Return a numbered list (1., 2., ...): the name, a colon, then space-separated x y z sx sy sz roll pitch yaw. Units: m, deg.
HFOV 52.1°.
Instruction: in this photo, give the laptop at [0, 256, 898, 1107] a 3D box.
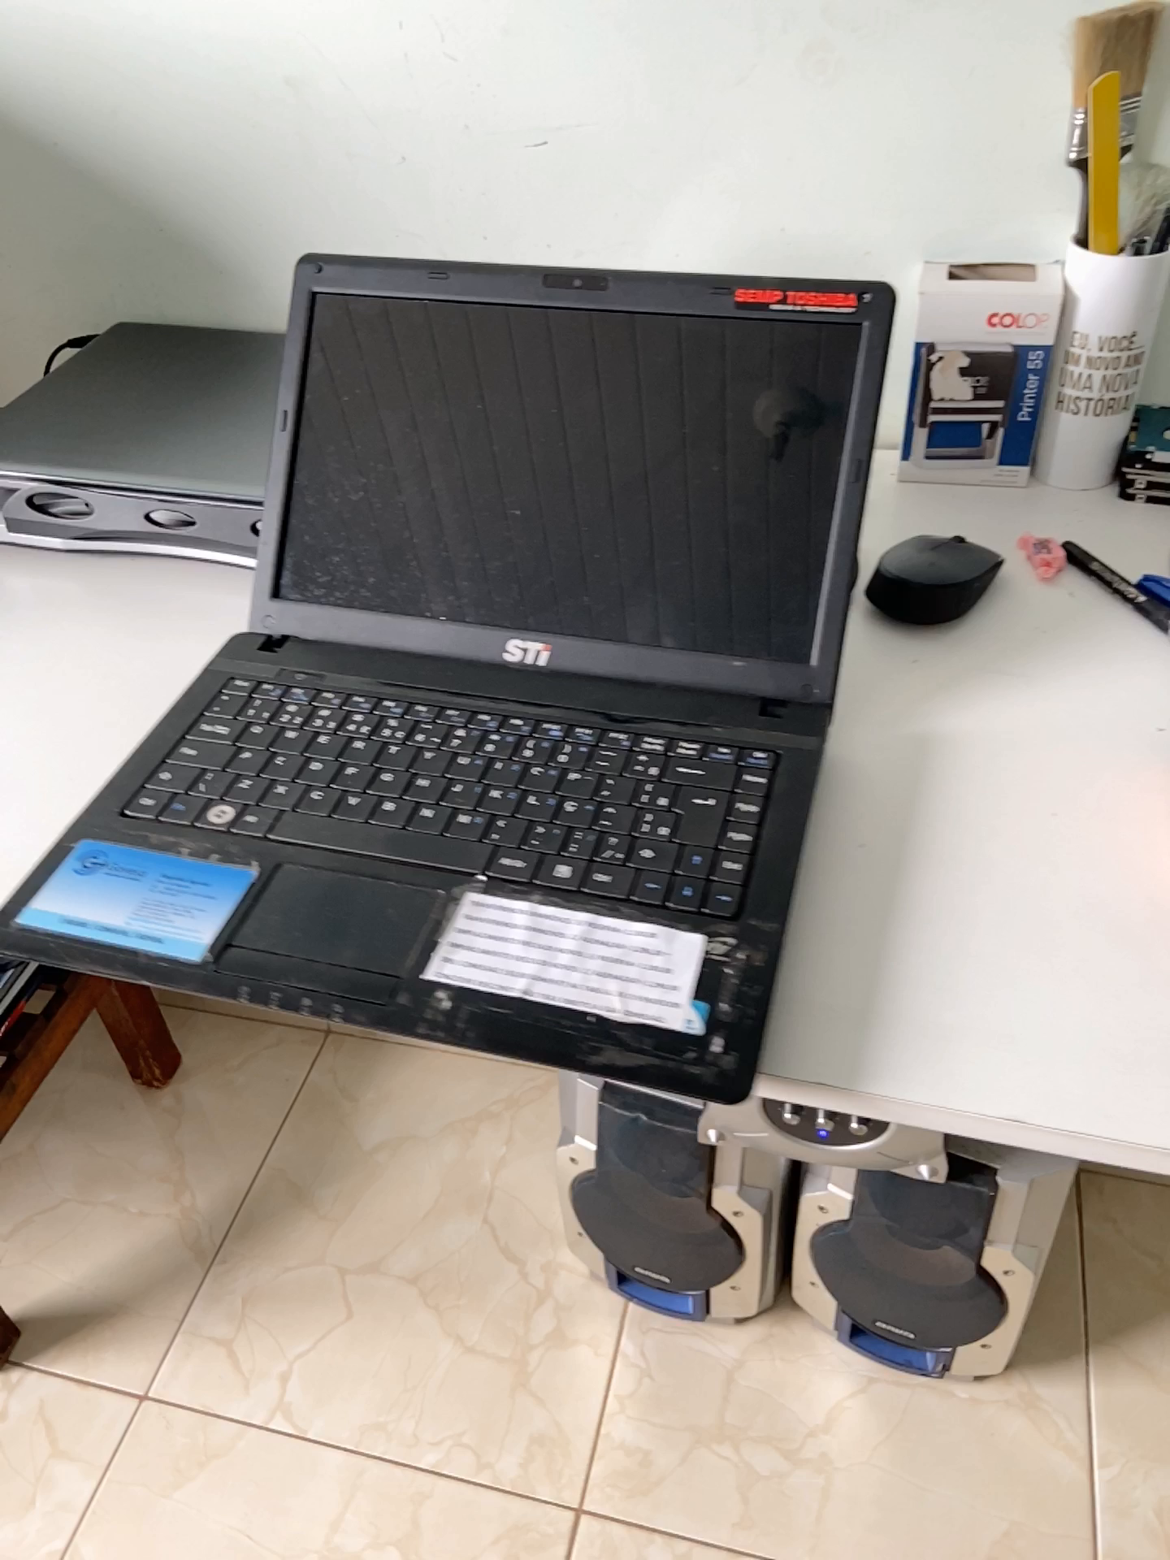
1. laptop: -0.051 -0.091 0.562 0.335 0.159 0.386 8 43 14
